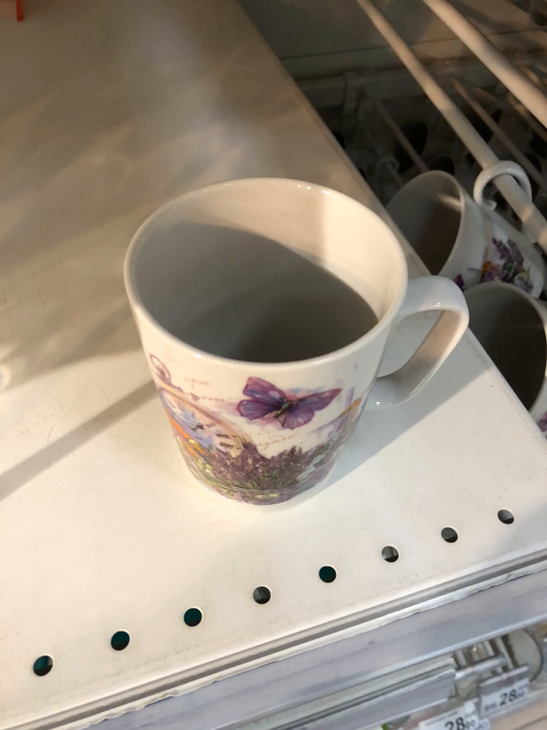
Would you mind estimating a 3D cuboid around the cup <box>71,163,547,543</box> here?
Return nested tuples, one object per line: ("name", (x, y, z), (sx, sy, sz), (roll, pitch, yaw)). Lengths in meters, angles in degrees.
("cup", (0.004, -0.002, 0.211), (0.119, 0.094, 0.082), (-5, 54, -6))
